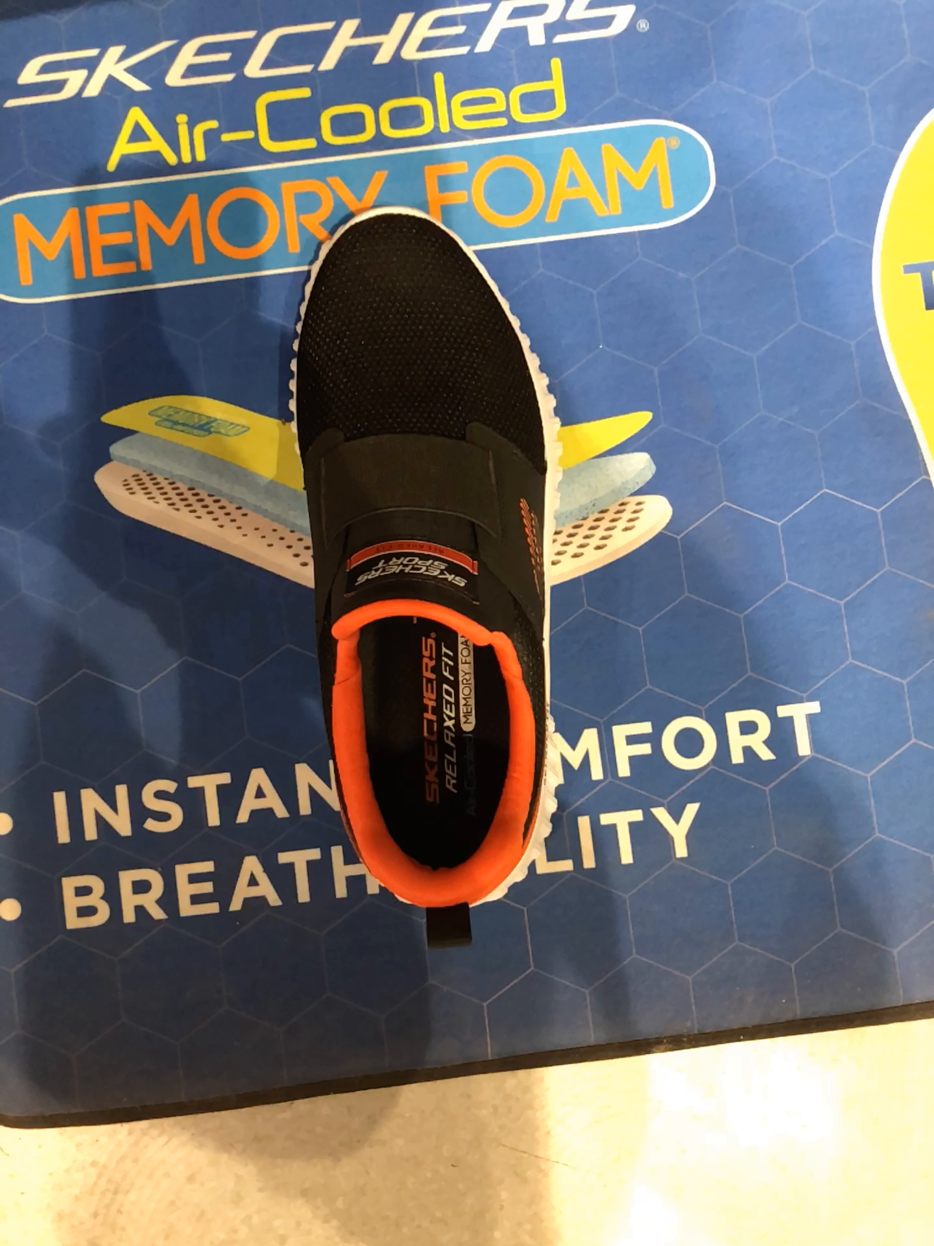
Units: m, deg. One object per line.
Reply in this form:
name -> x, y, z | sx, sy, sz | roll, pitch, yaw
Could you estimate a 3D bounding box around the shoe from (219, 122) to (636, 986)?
shoe -> -0.014, -0.022, 0.406 | 0.116, 0.136, 0.276 | -4, 87, 0
